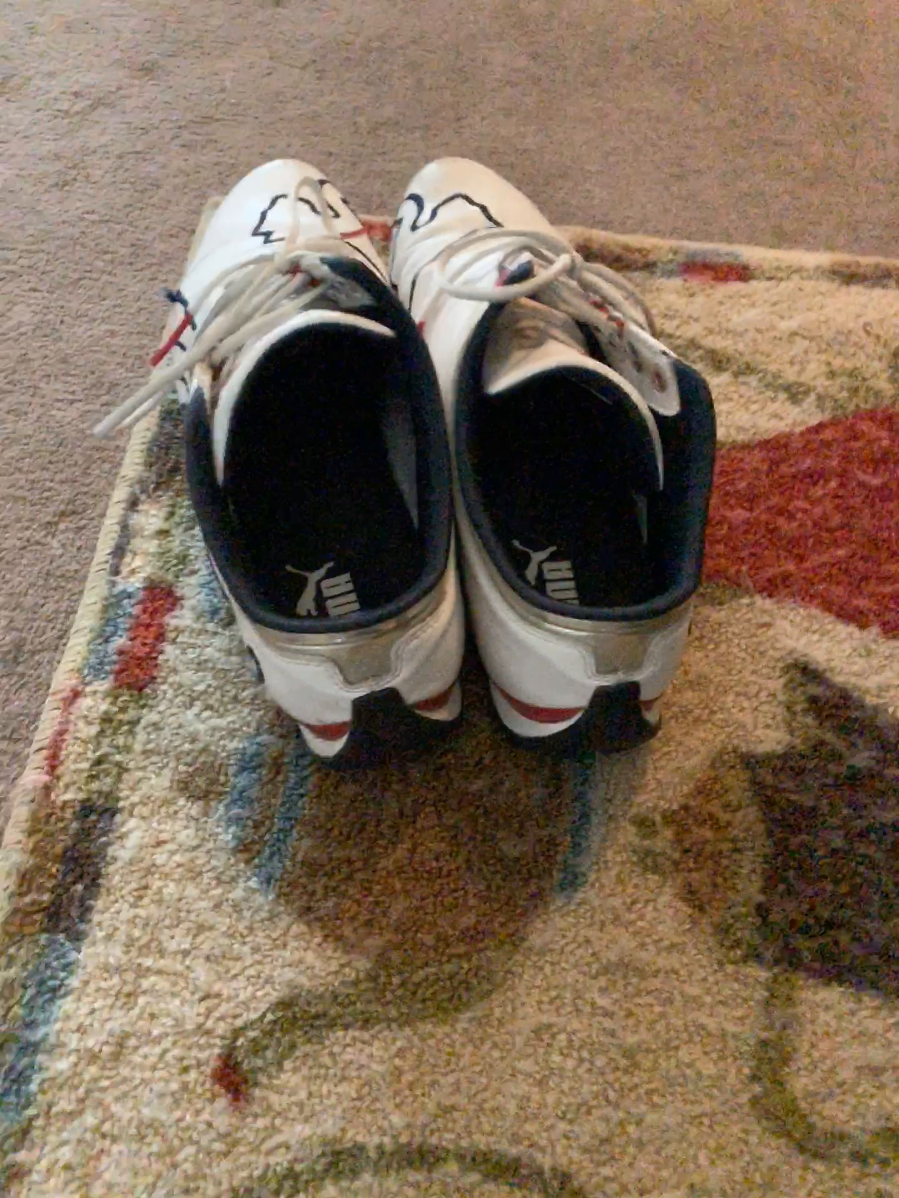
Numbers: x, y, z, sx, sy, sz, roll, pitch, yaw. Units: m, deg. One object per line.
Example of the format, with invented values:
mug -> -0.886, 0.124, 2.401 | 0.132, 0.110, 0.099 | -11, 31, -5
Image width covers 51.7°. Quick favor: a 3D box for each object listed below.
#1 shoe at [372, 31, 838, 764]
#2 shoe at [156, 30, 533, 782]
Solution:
shoe -> 0.038, -0.094, 0.371 | 0.100, 0.089, 0.292 | -7, 62, -8
shoe -> -0.052, -0.089, 0.370 | 0.100, 0.099, 0.292 | -7, 62, -8
